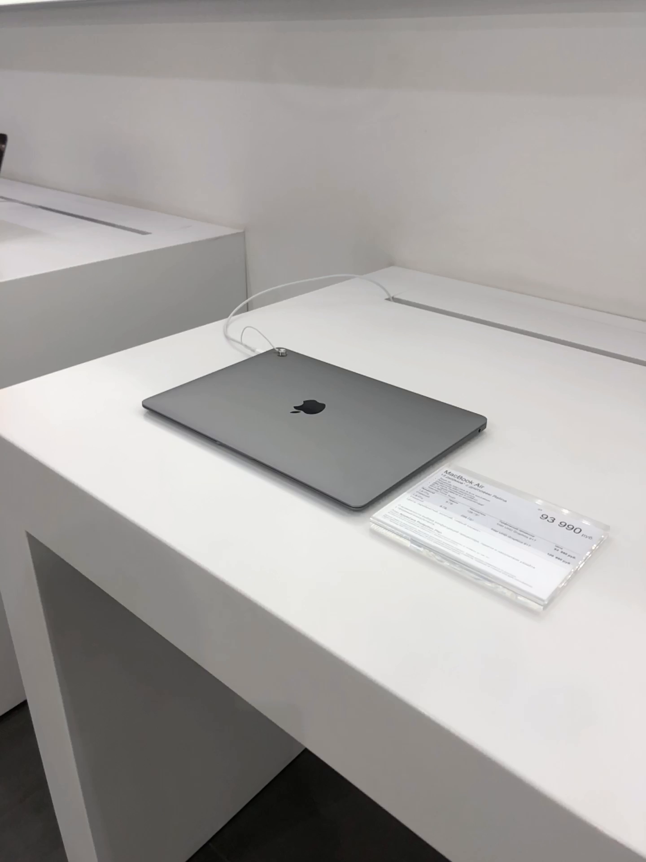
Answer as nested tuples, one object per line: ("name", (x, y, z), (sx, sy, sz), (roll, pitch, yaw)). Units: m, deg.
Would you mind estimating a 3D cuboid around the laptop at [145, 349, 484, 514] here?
("laptop", (-0.014, -0.017, 0.736), (0.293, 0.006, 0.205), (23, 36, 37))
